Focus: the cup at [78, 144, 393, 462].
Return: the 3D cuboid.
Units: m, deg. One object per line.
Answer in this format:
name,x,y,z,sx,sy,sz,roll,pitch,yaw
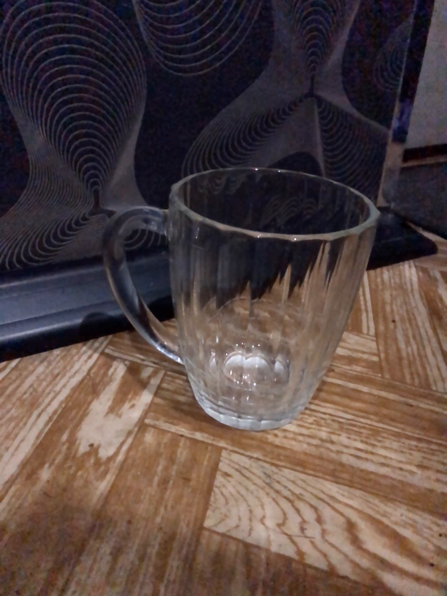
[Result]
cup,0.013,-0.009,0.265,0.125,0.107,0.114,12,31,14
